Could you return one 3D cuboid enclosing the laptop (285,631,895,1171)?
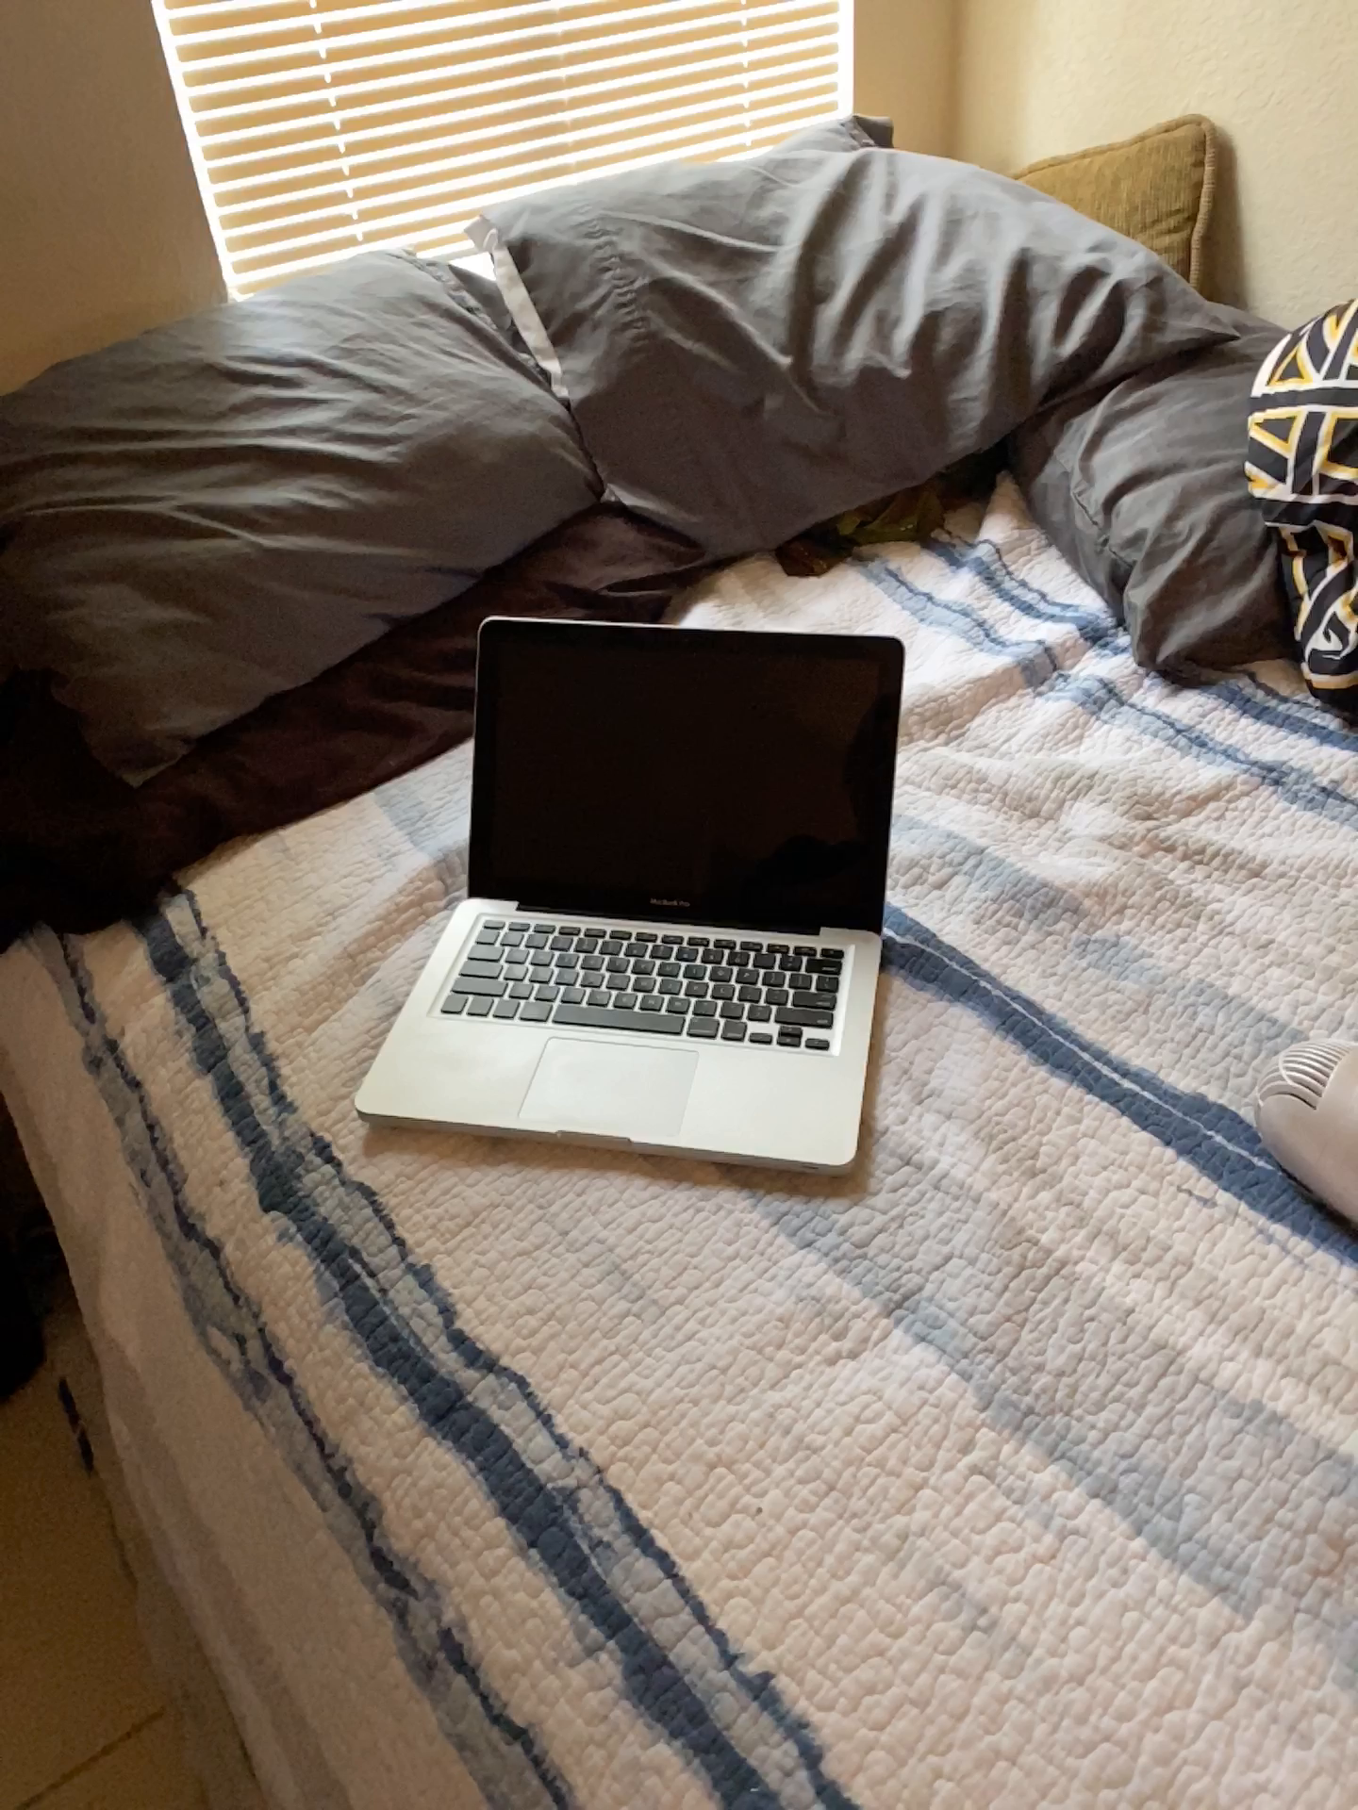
[{"bbox_3d":[-0.028,-0.026,0.933,0.319,0.169,0.348,4,38,11],"label":"laptop"}]
